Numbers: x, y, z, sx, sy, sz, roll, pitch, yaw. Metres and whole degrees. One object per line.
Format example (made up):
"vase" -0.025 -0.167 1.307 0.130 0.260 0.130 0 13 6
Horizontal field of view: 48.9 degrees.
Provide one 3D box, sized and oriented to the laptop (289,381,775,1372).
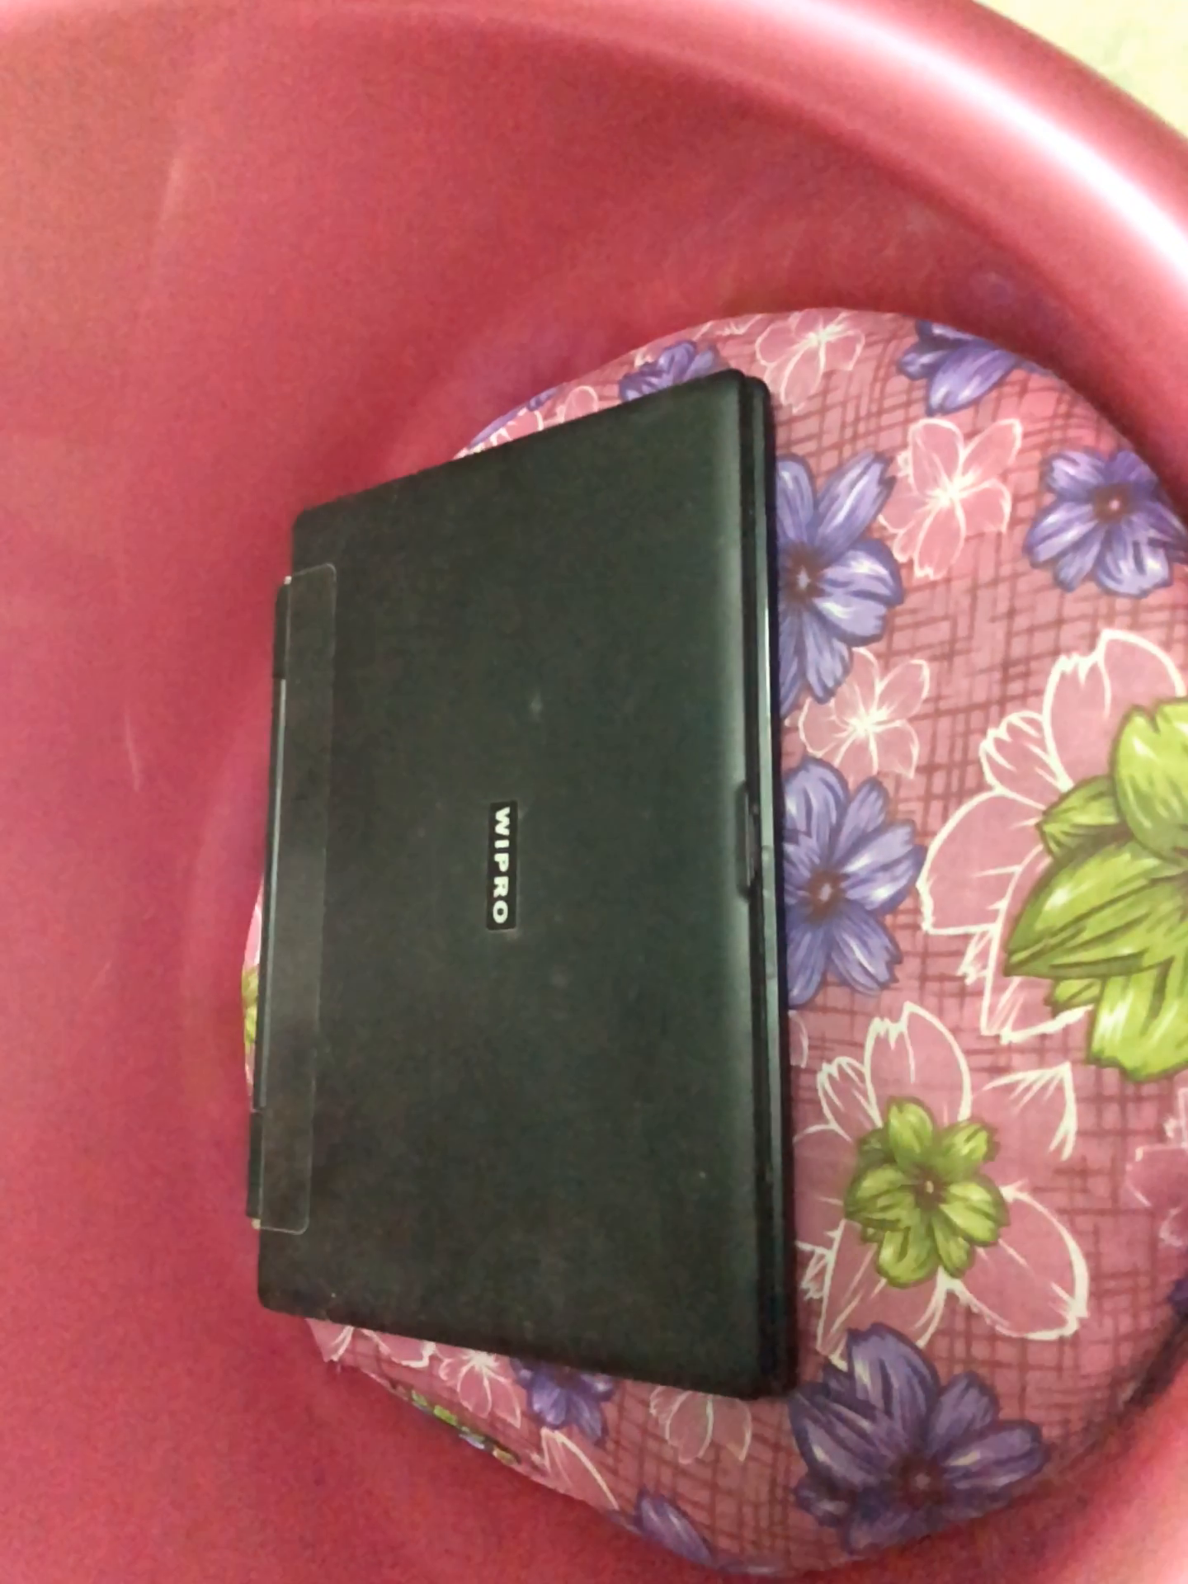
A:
"laptop" -0.033 0.028 0.492 0.221 0.006 0.322 -7 78 37
